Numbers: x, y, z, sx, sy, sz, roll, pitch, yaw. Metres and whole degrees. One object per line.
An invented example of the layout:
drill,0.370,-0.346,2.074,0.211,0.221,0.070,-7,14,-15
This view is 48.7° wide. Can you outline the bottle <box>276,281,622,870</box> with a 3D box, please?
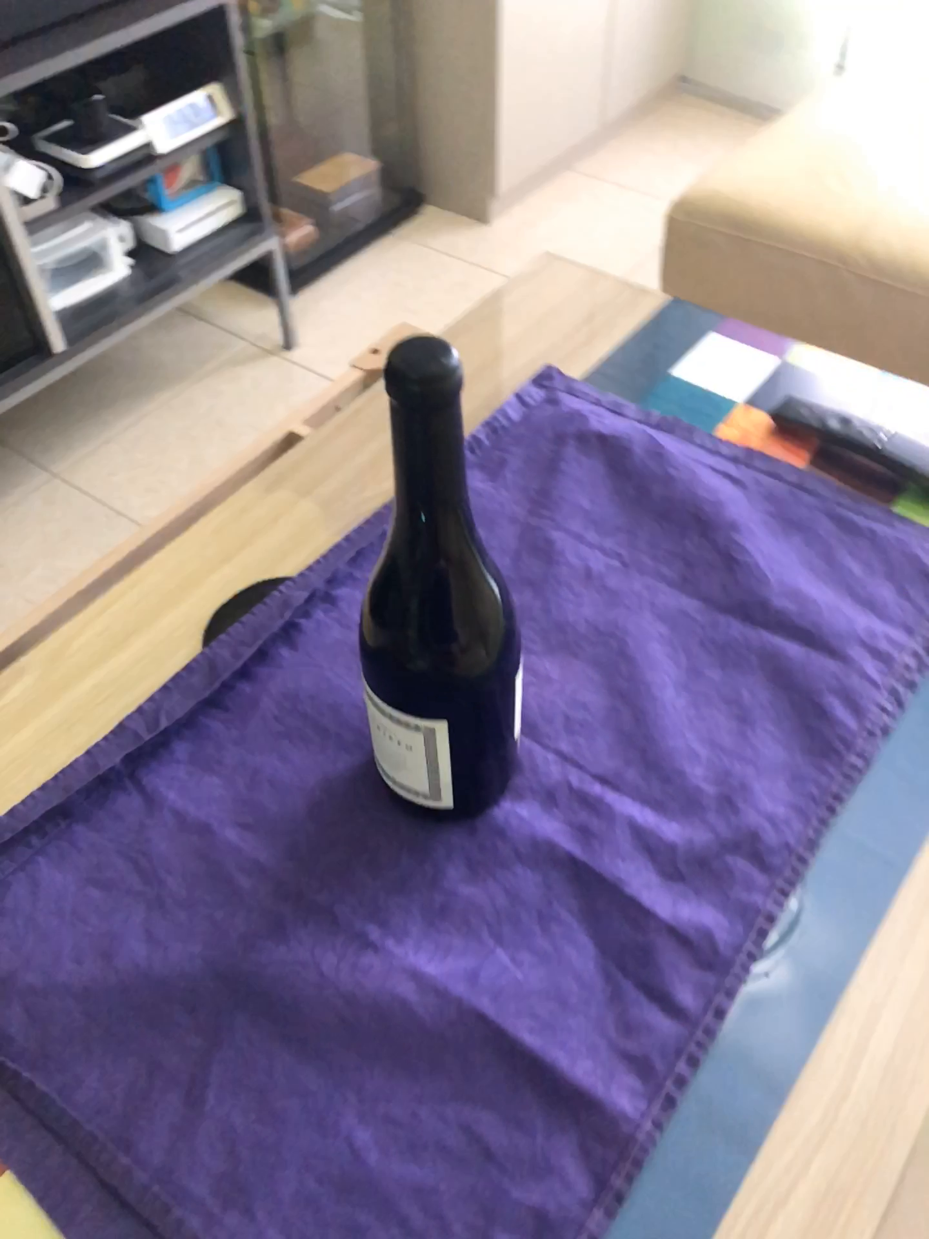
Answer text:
bottle,-0.008,-0.006,0.489,0.100,0.259,0.110,-17,50,-13
